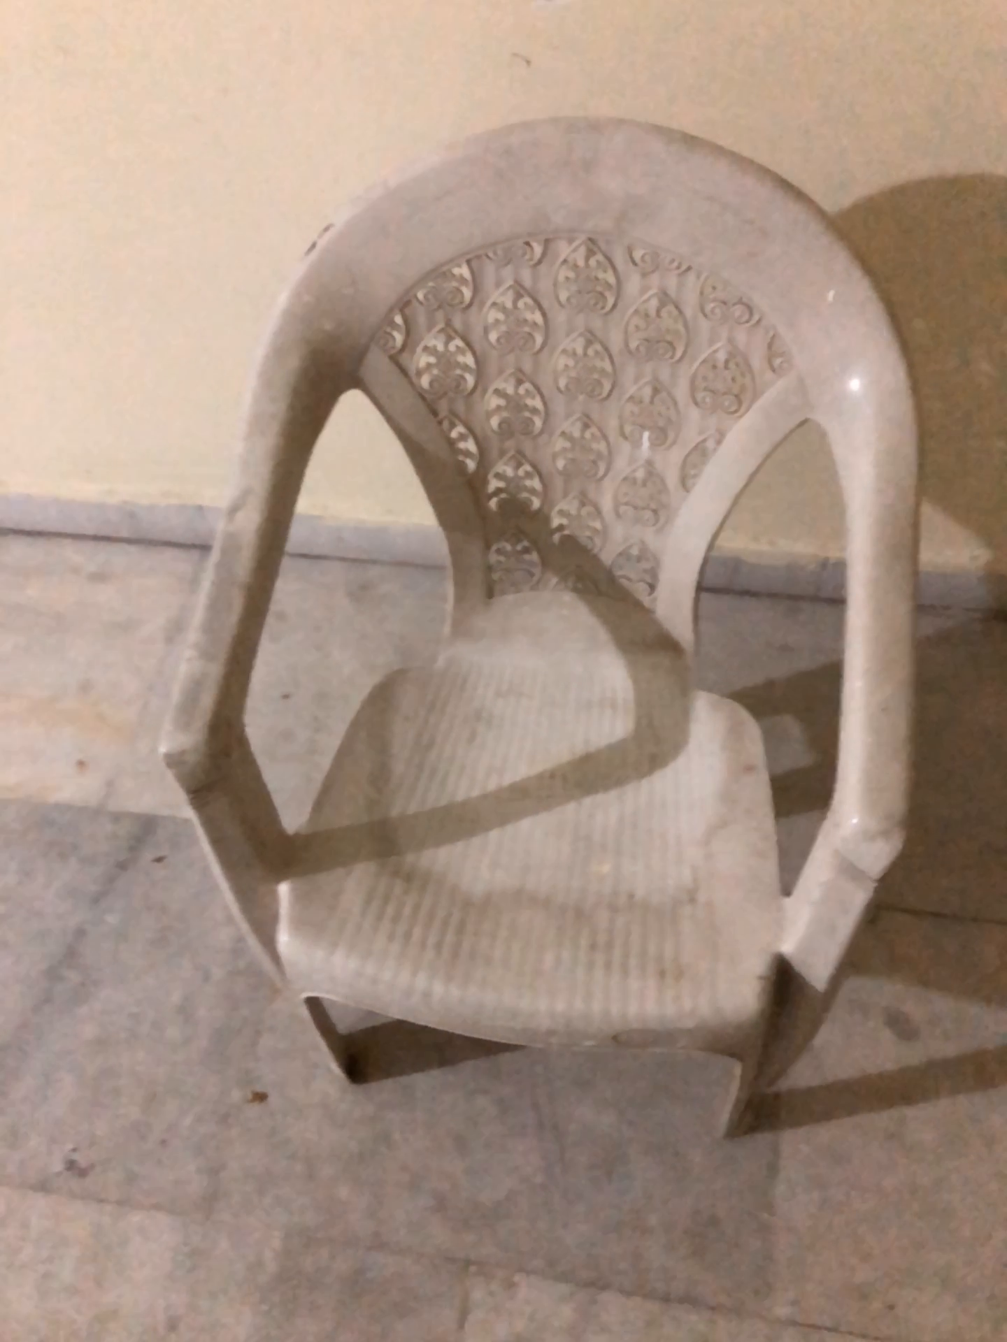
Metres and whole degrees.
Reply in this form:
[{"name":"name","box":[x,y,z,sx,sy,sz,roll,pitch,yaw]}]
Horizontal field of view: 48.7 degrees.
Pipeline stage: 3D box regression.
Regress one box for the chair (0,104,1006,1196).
[{"name":"chair","box":[0.038,0.066,0.958,0.530,0.836,0.512,6,58,9]}]
